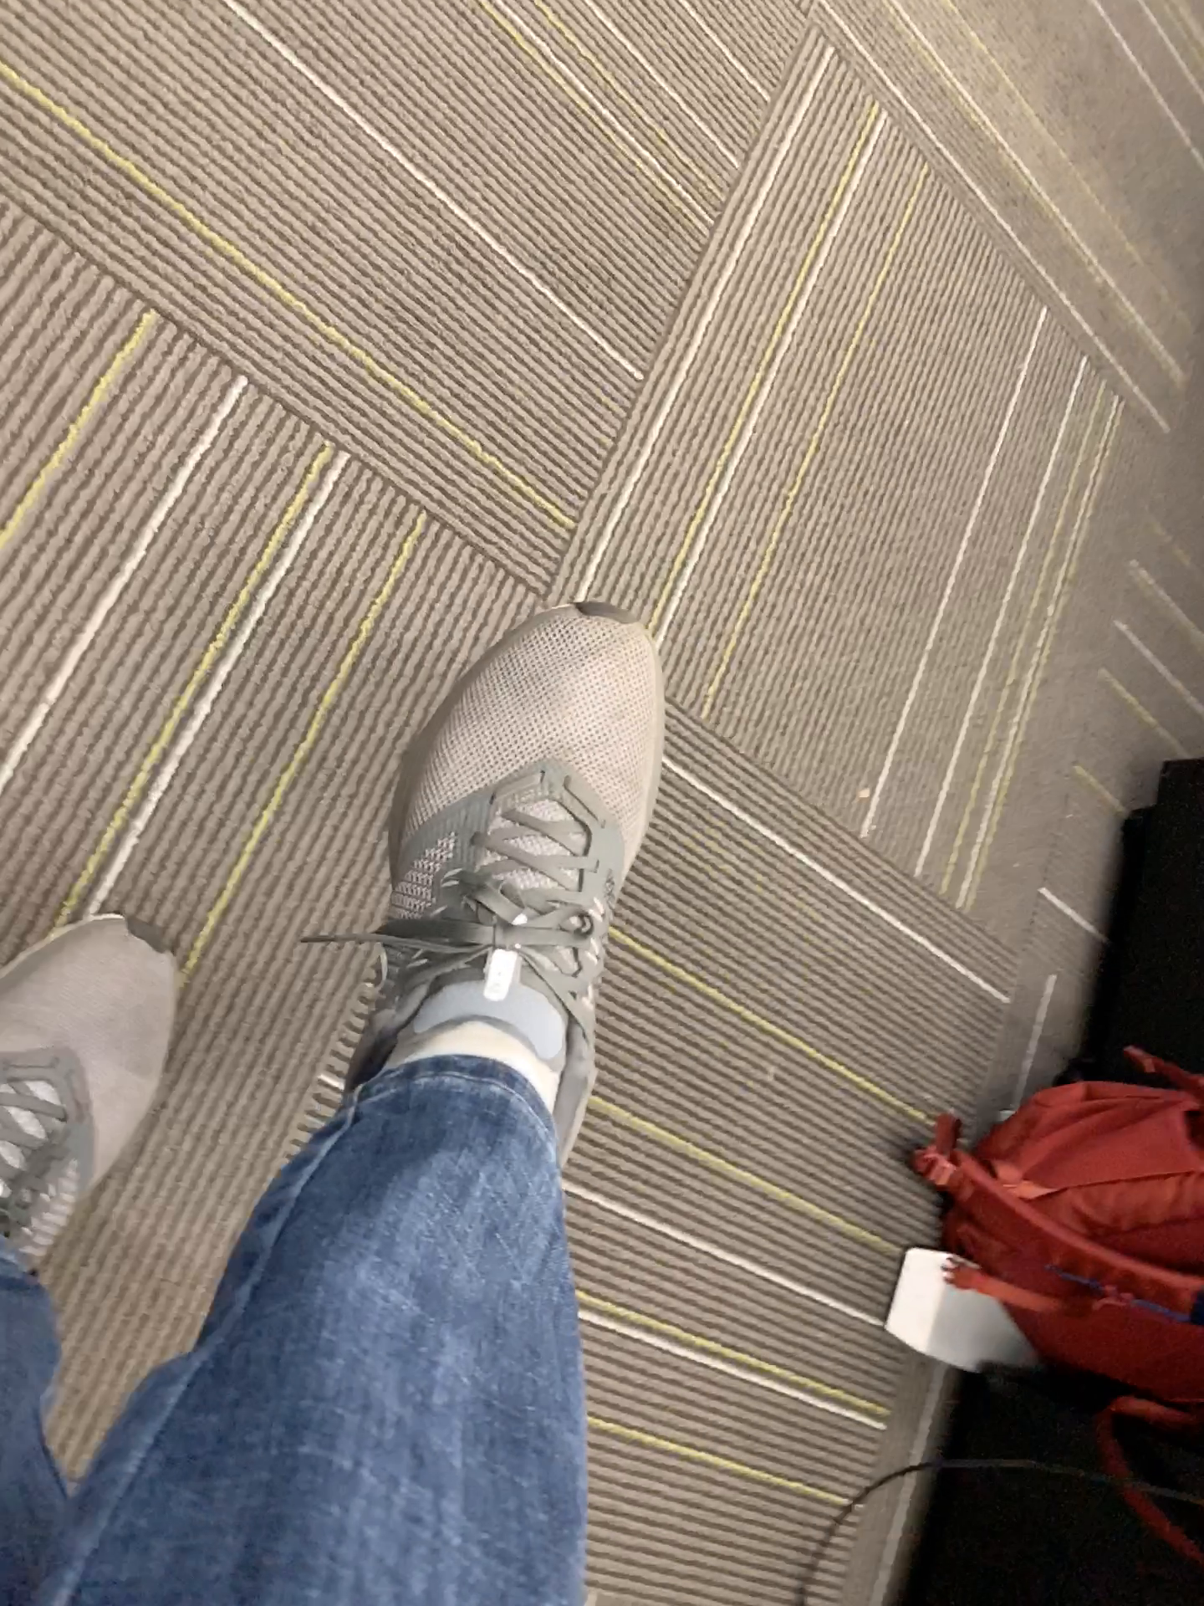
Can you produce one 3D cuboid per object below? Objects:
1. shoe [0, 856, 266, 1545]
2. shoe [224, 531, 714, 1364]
[{"bbox_3d":[-0.358,0.192,0.682,0.124,0.180,0.310,44,64,-25],"label":"shoe"},{"bbox_3d":[-0.048,0.057,0.521,0.127,0.115,0.297,11,75,-3],"label":"shoe"}]
